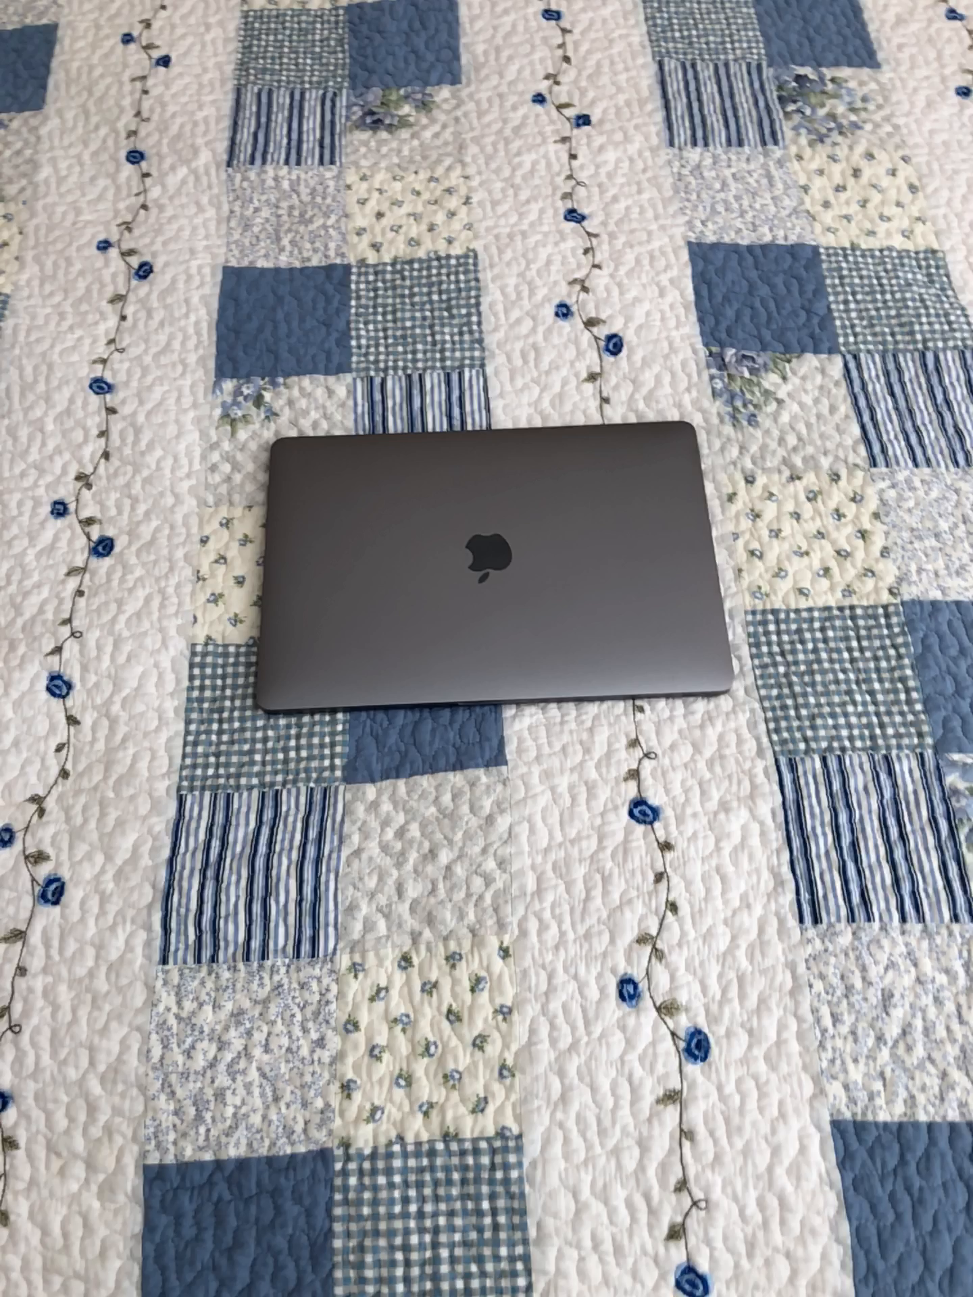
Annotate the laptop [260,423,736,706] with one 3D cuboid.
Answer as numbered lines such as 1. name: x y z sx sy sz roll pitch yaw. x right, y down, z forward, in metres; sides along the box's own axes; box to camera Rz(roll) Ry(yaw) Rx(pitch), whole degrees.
1. laptop: 0.003 -0.061 0.702 0.290 0.005 0.202 -2 63 -1
